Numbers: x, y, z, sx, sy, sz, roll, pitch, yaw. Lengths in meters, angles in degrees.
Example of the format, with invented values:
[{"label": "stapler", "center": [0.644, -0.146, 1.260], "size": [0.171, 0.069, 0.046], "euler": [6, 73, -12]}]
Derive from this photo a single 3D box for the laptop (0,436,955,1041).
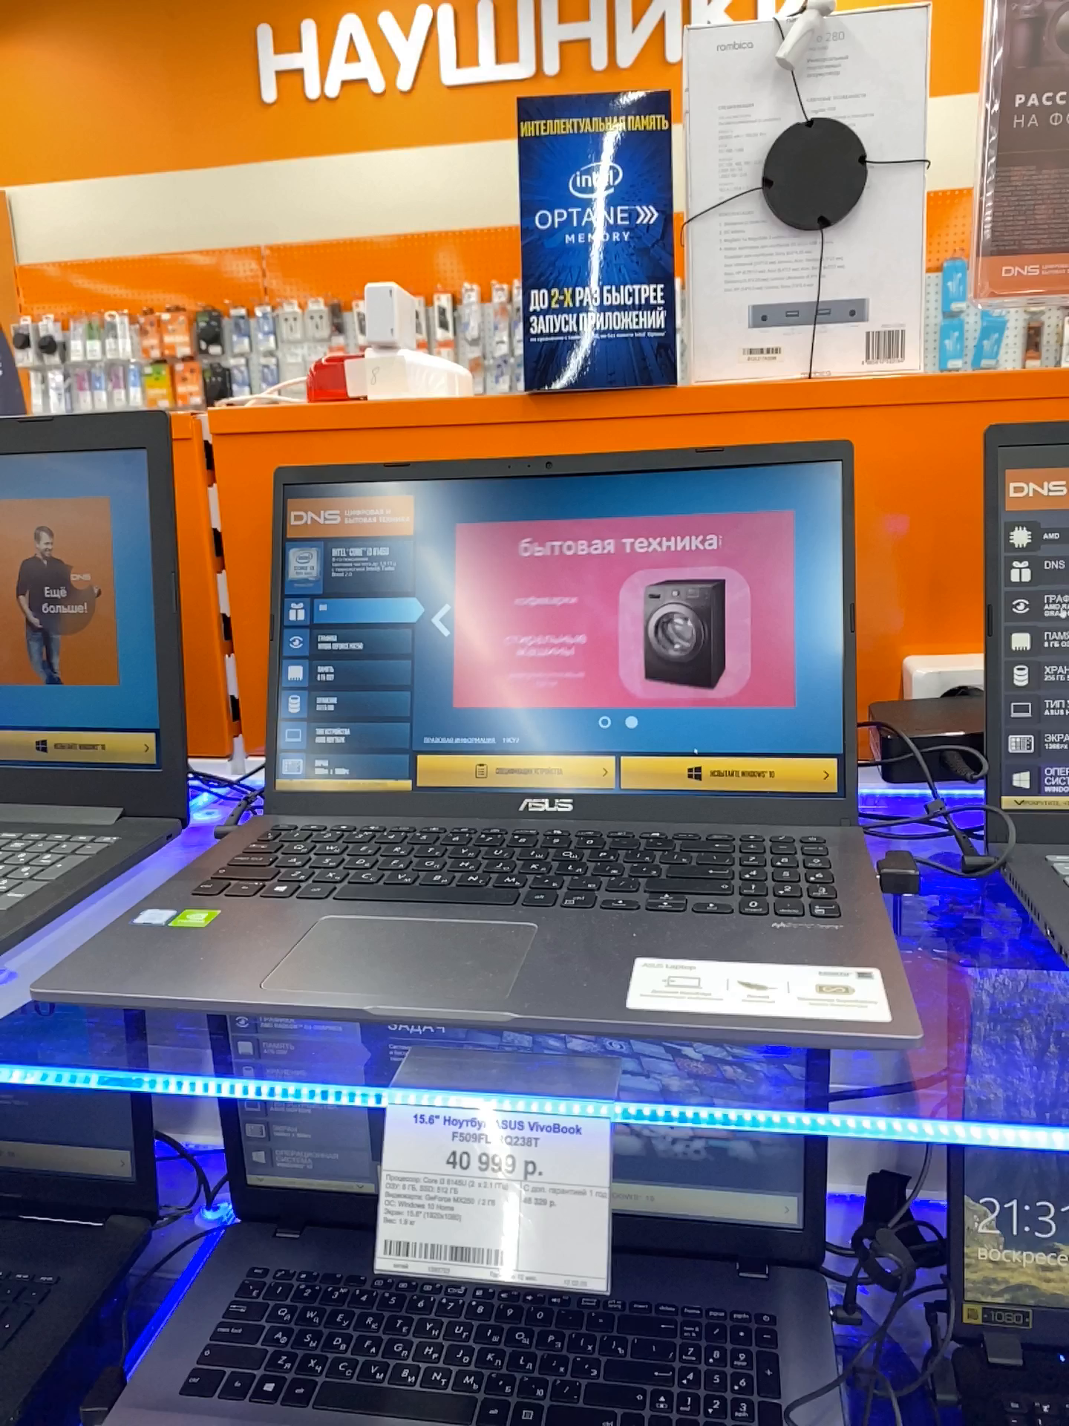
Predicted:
[{"label": "laptop", "center": [-0.009, -0.022, 0.551], "size": [0.357, 0.211, 0.307], "euler": [0, 13, 11]}]
